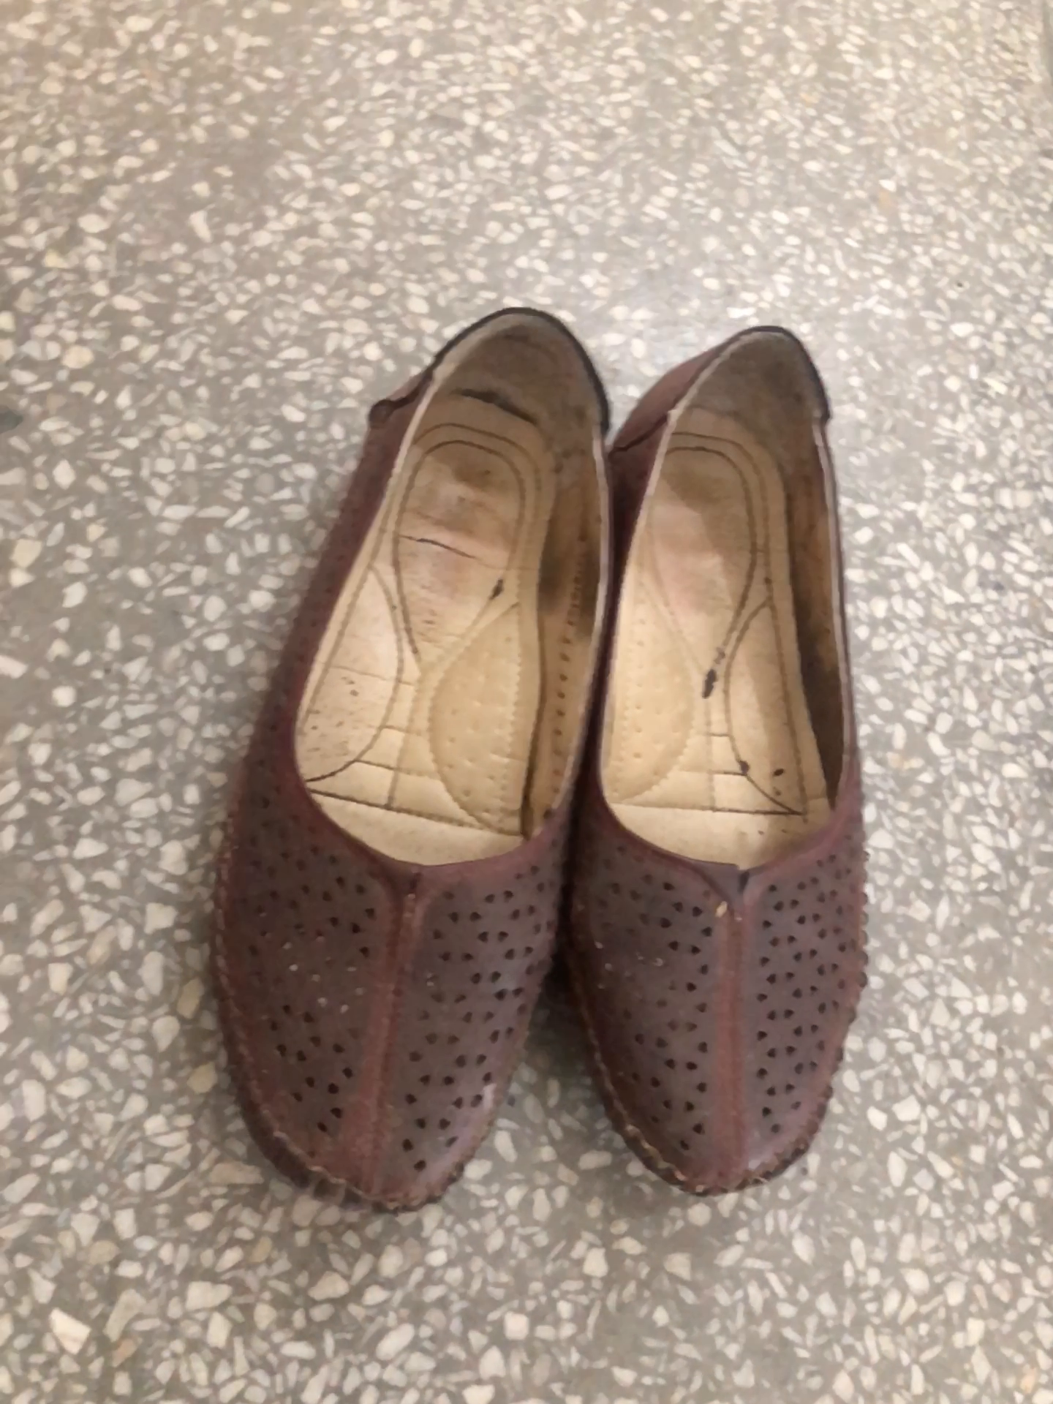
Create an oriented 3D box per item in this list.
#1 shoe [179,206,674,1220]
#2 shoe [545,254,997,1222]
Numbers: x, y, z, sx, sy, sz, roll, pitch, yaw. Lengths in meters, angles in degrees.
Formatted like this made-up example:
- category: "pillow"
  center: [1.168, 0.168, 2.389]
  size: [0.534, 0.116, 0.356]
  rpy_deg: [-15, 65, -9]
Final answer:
- category: "shoe"
  center: [-0.020, -0.003, 0.315]
  size: [0.090, 0.060, 0.250]
  rpy_deg: [10, 68, -10]
- category: "shoe"
  center: [0.061, 0.005, 0.326]
  size: [0.090, 0.060, 0.250]
  rpy_deg: [7, 69, -12]
